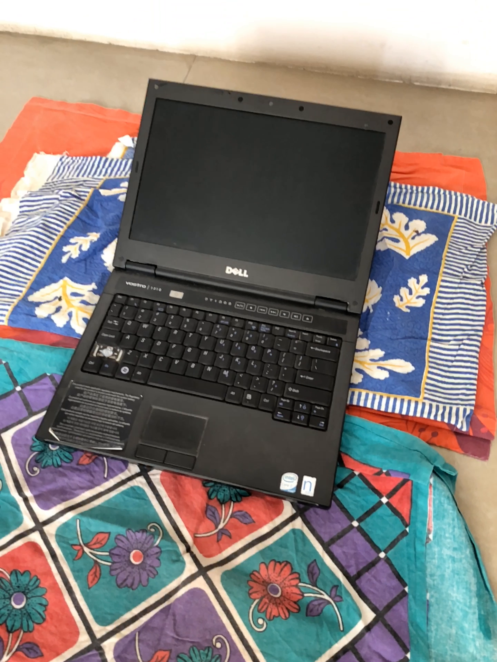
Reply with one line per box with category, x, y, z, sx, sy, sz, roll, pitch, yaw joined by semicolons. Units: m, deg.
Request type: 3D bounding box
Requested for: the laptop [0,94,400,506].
laptop;-0.019;-0.064;0.607;0.305;0.125;0.421;12;58;8
